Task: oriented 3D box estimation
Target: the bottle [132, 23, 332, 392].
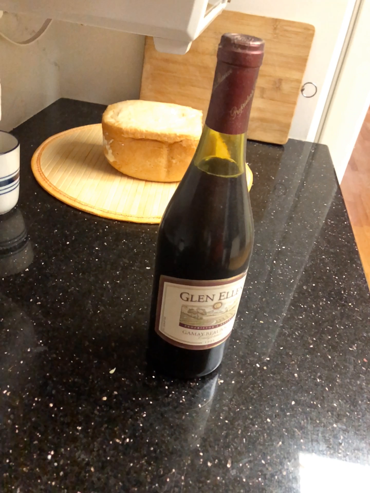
[{"bbox_3d":[0.012,-0.009,0.335,0.090,0.288,0.090,6,36,-4],"label":"bottle"}]
